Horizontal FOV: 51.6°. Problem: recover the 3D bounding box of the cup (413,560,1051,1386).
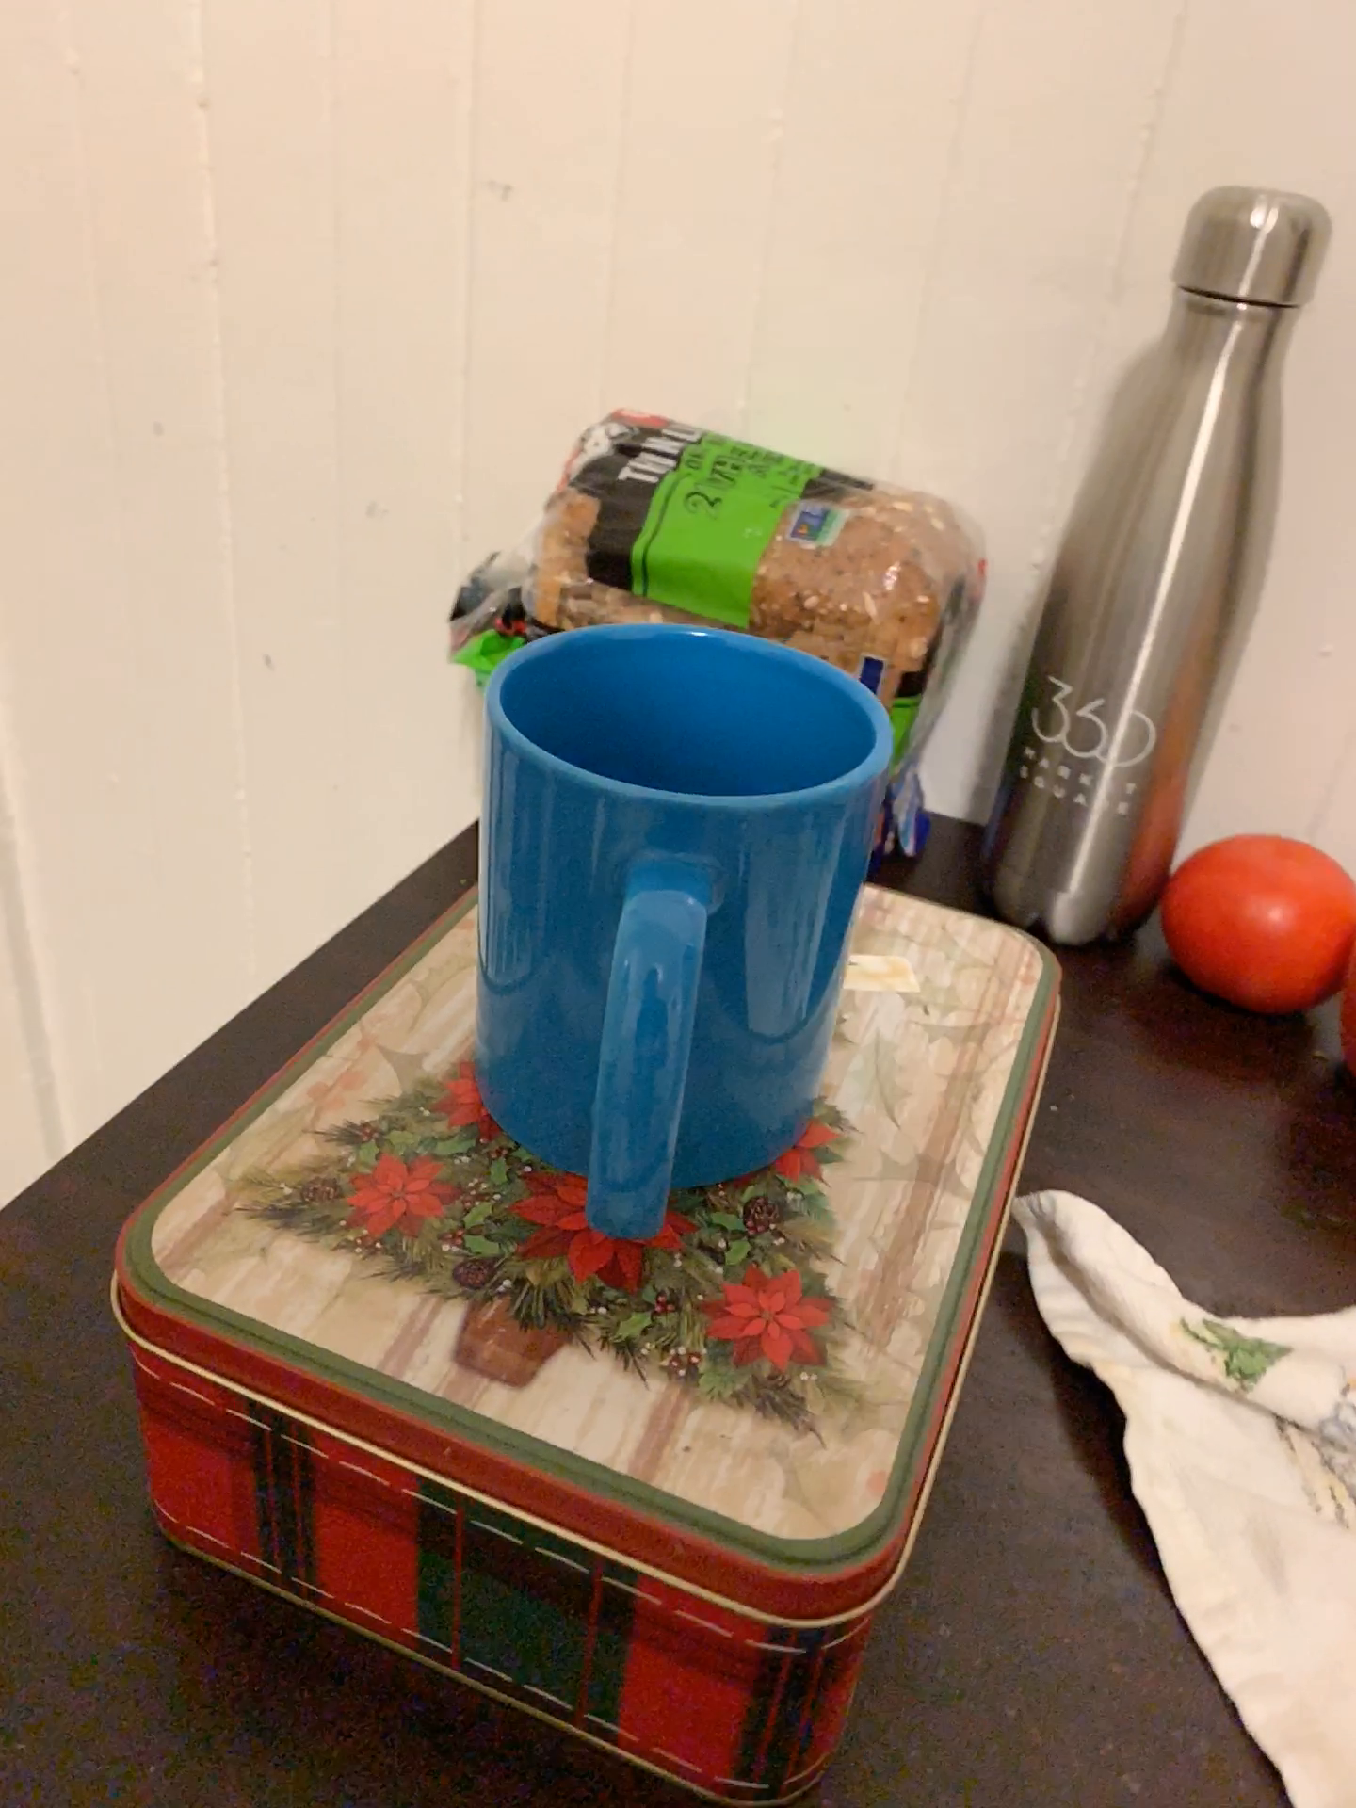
[{"bbox_3d":[0.002,0.006,0.278,0.090,0.099,0.131,5,33,-4],"label":"cup"}]
